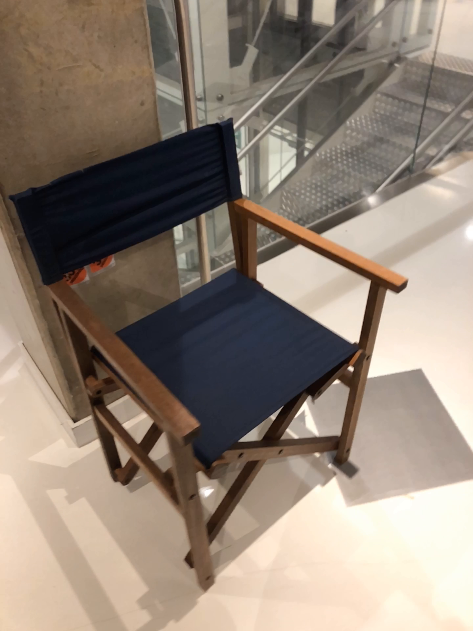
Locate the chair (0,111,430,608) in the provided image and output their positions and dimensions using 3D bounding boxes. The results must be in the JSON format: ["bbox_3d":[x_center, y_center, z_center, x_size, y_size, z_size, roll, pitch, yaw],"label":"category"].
[{"bbox_3d":[-0.044,0.080,1.147,0.582,0.774,0.502,-30,48,-28],"label":"chair"}]
